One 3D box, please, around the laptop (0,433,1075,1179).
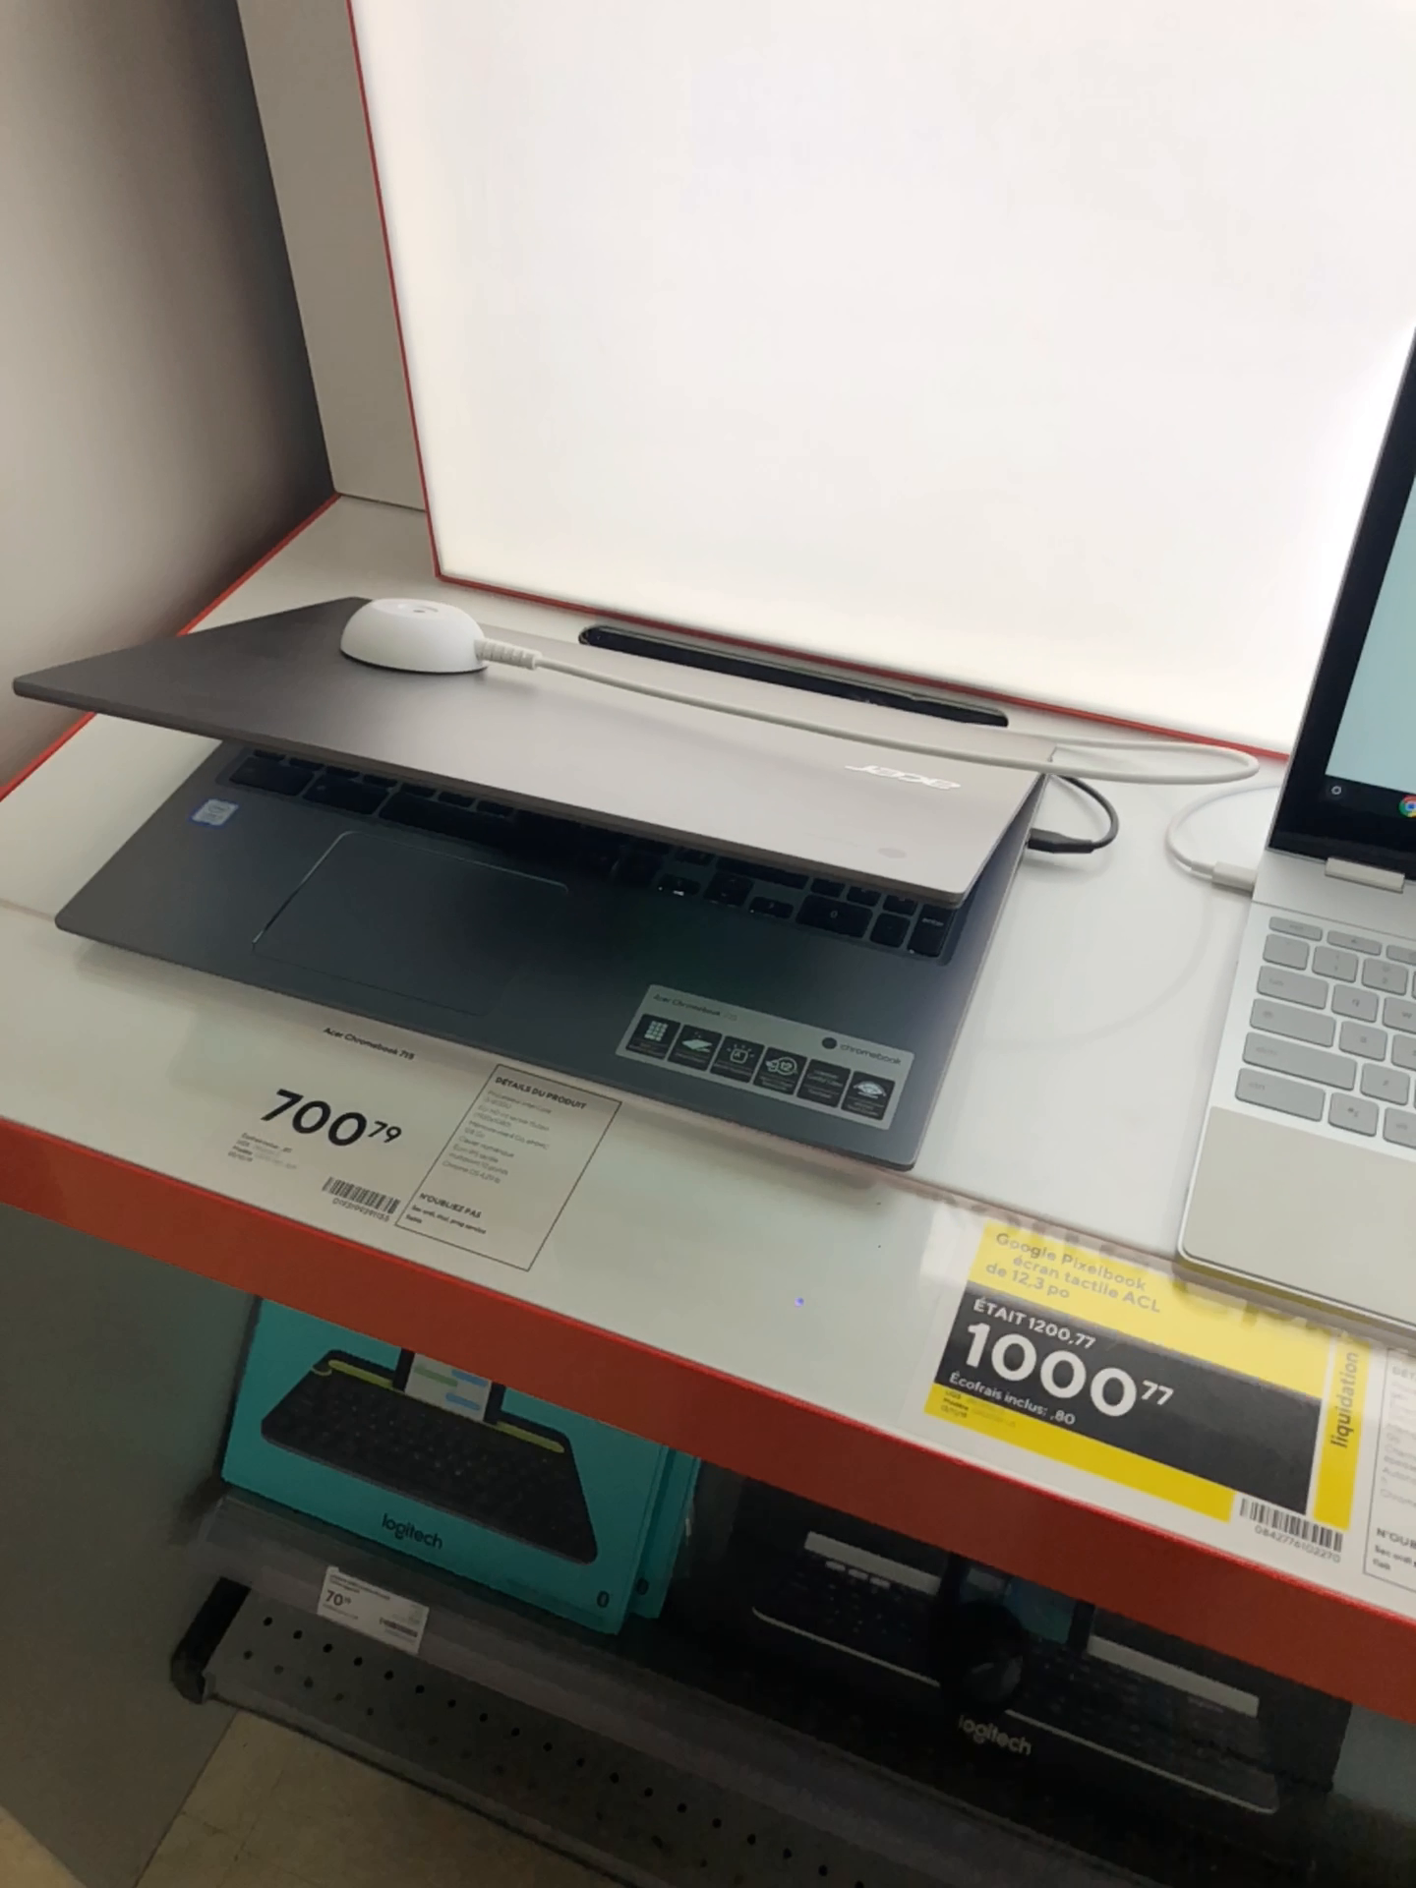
[{"bbox_3d":[-0.059,-0.077,0.626,0.356,0.105,0.237,15,46,15],"label":"laptop"}]
